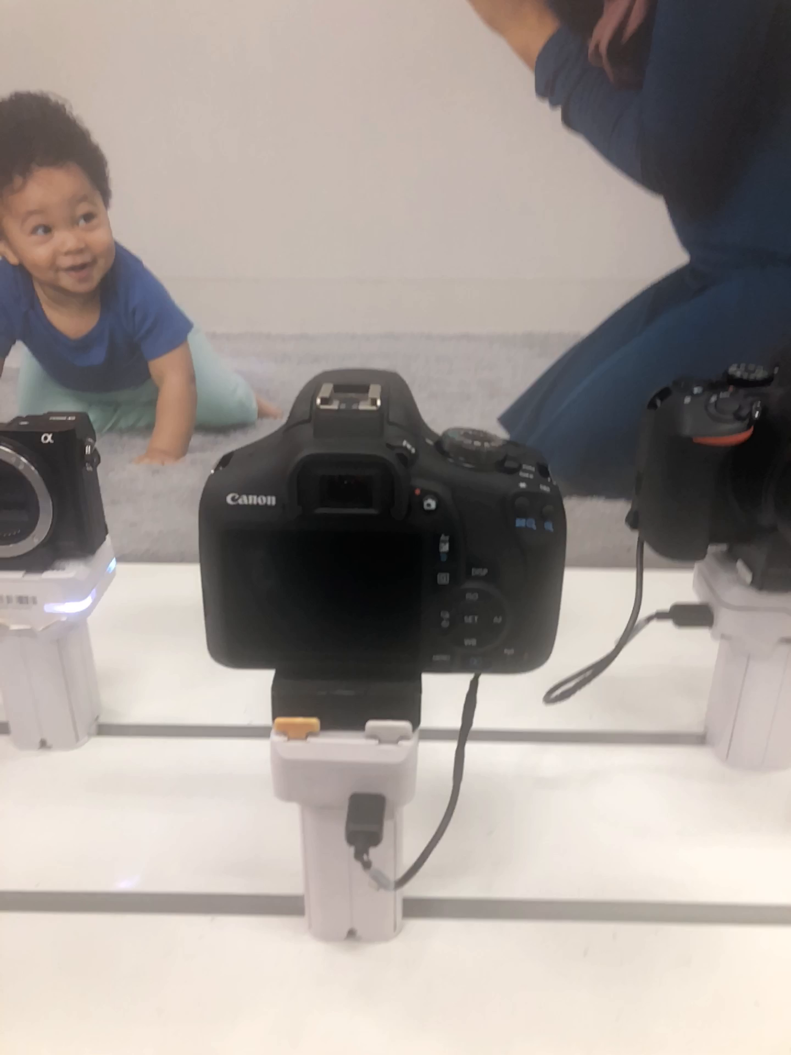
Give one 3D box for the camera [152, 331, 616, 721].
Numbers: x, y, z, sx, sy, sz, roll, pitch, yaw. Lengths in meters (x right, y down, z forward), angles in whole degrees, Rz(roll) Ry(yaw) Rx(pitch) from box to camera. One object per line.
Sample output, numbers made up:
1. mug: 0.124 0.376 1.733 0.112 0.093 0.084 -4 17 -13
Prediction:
1. camera: -0.002 -0.014 0.359 0.140 0.090 0.171 1 27 1
